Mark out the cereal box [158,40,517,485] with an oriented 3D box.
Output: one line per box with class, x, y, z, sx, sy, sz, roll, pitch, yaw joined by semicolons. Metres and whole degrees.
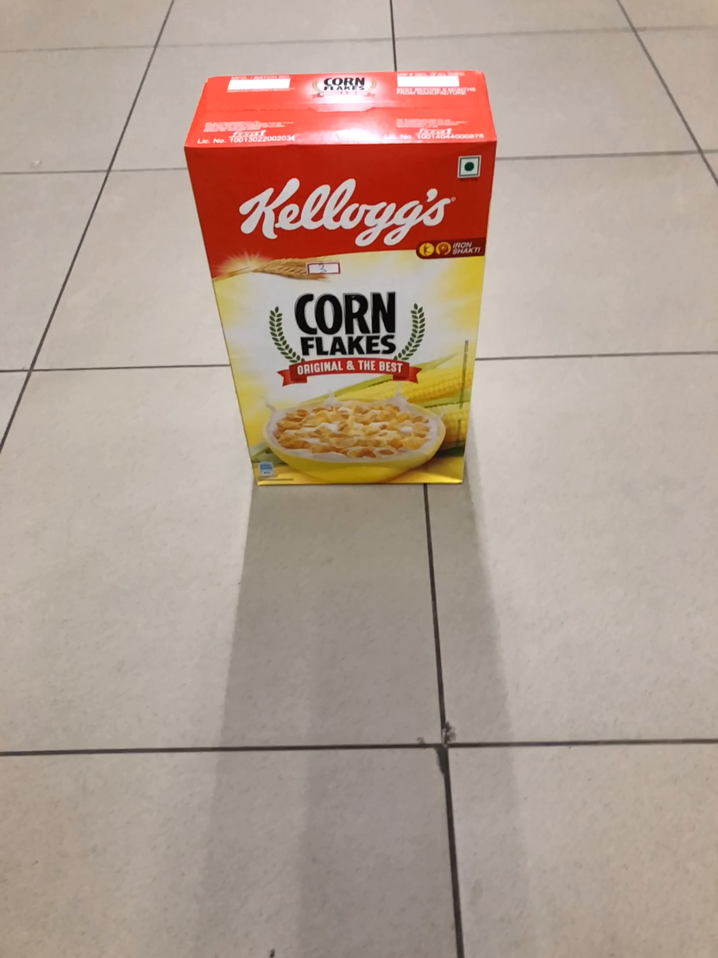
cereal box;-0.007;-0.137;0.594;0.200;0.318;0.101;-1;50;1
